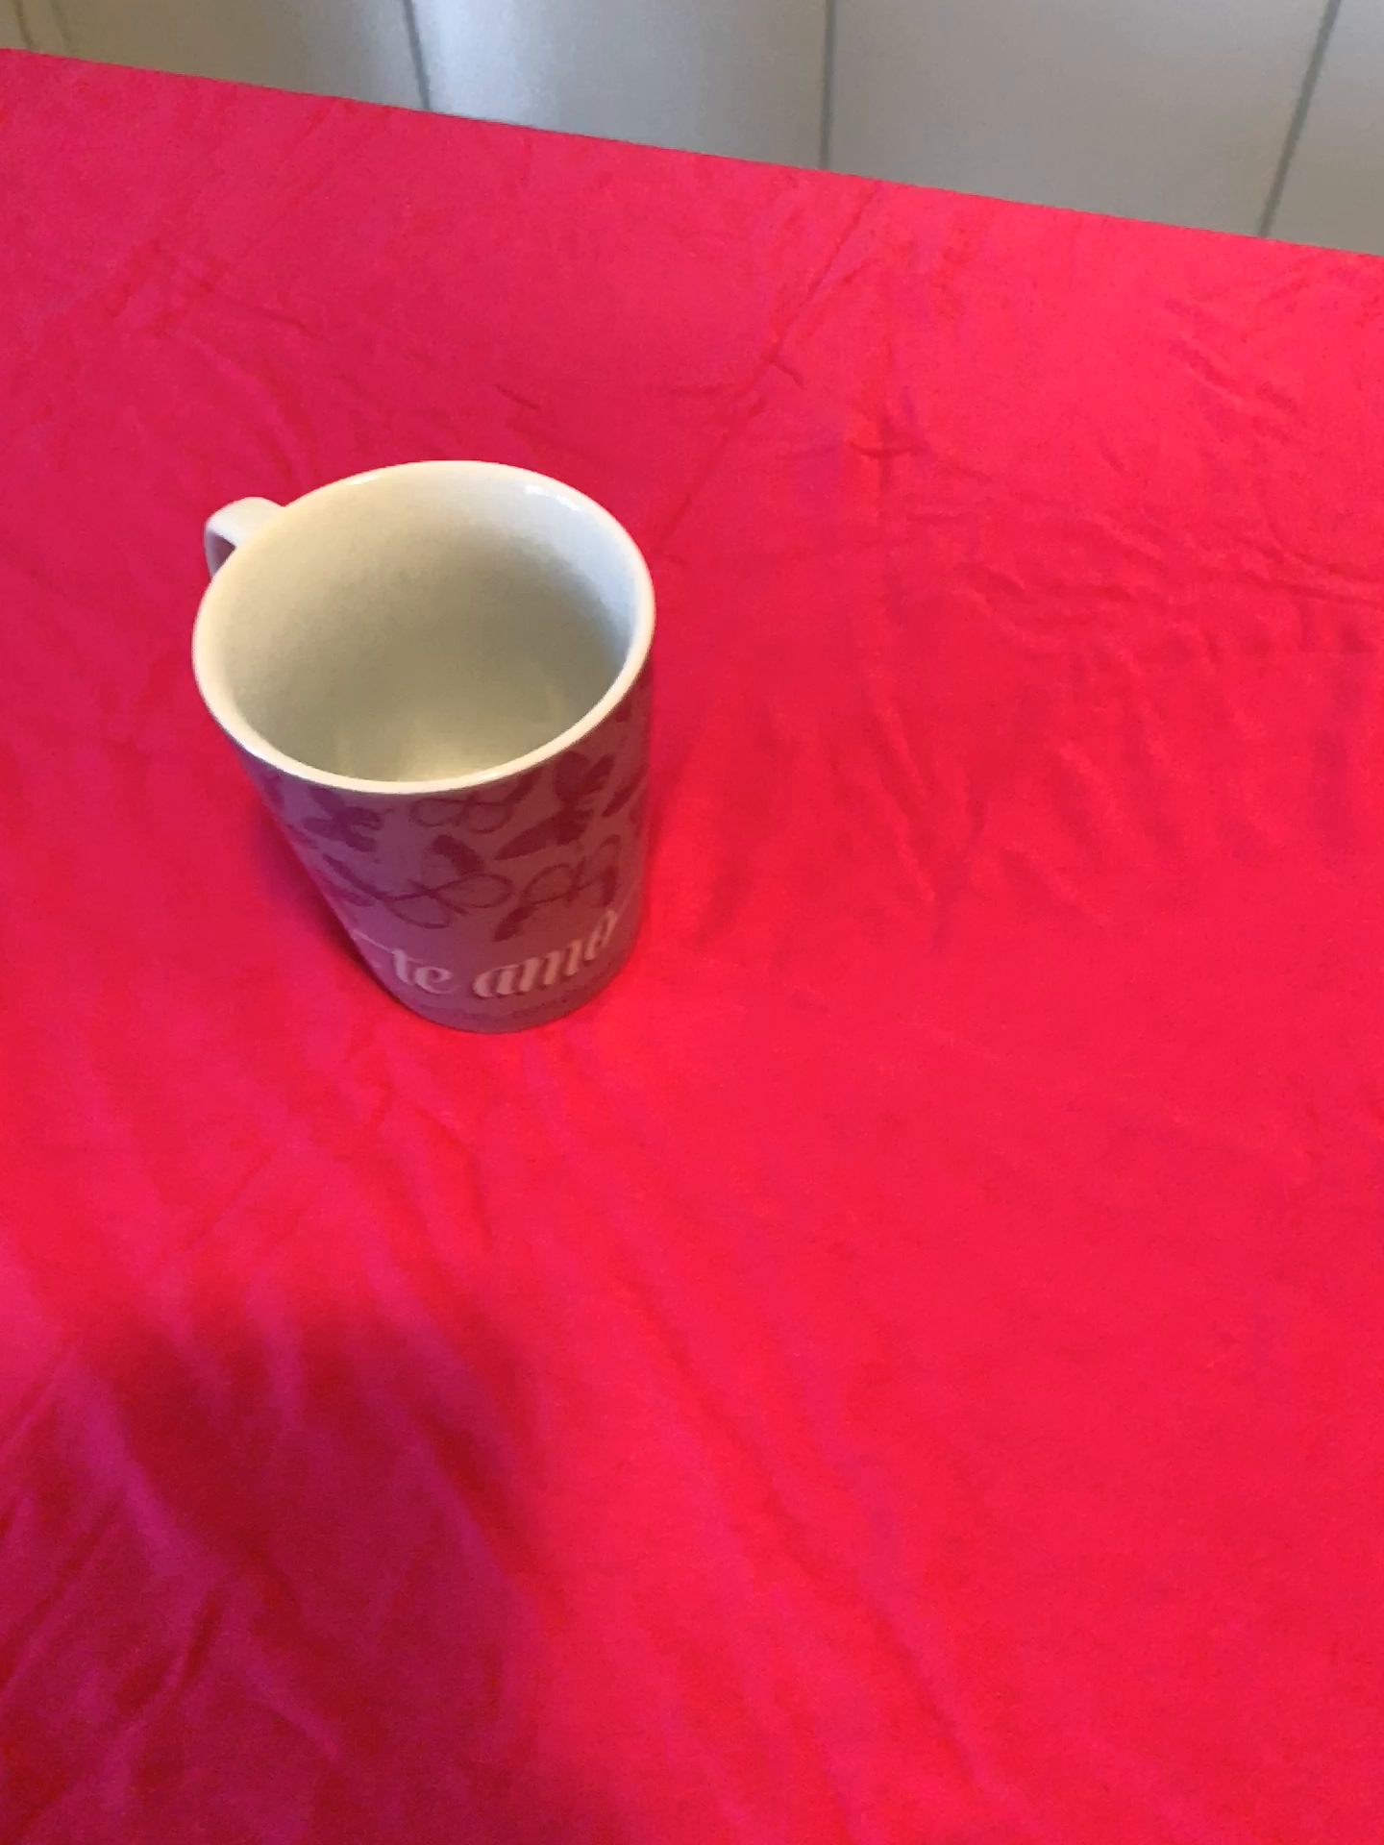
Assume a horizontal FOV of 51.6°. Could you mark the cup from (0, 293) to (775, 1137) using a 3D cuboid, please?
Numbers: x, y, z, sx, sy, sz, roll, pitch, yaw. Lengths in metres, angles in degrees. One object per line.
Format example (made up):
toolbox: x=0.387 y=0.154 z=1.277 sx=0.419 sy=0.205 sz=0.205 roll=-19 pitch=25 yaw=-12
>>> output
cup: x=-0.053 y=-0.040 z=0.285 sx=0.110 sy=0.100 sz=0.080 roll=39 pitch=65 yaw=23
